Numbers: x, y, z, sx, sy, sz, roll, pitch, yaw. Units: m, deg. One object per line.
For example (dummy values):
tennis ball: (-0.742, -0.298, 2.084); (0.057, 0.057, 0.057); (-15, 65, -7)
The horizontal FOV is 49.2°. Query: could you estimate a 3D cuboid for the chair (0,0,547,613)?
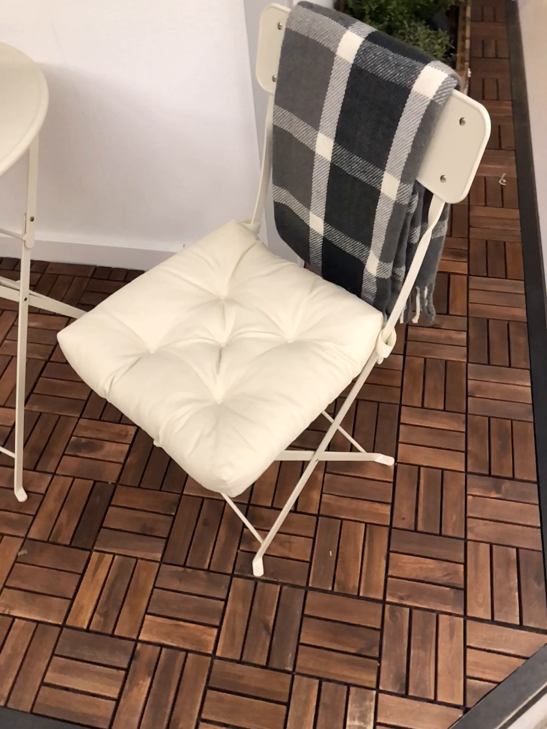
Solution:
chair: (-0.020, -0.080, 0.935); (0.511, 0.736, 0.492); (-34, 58, -20)
